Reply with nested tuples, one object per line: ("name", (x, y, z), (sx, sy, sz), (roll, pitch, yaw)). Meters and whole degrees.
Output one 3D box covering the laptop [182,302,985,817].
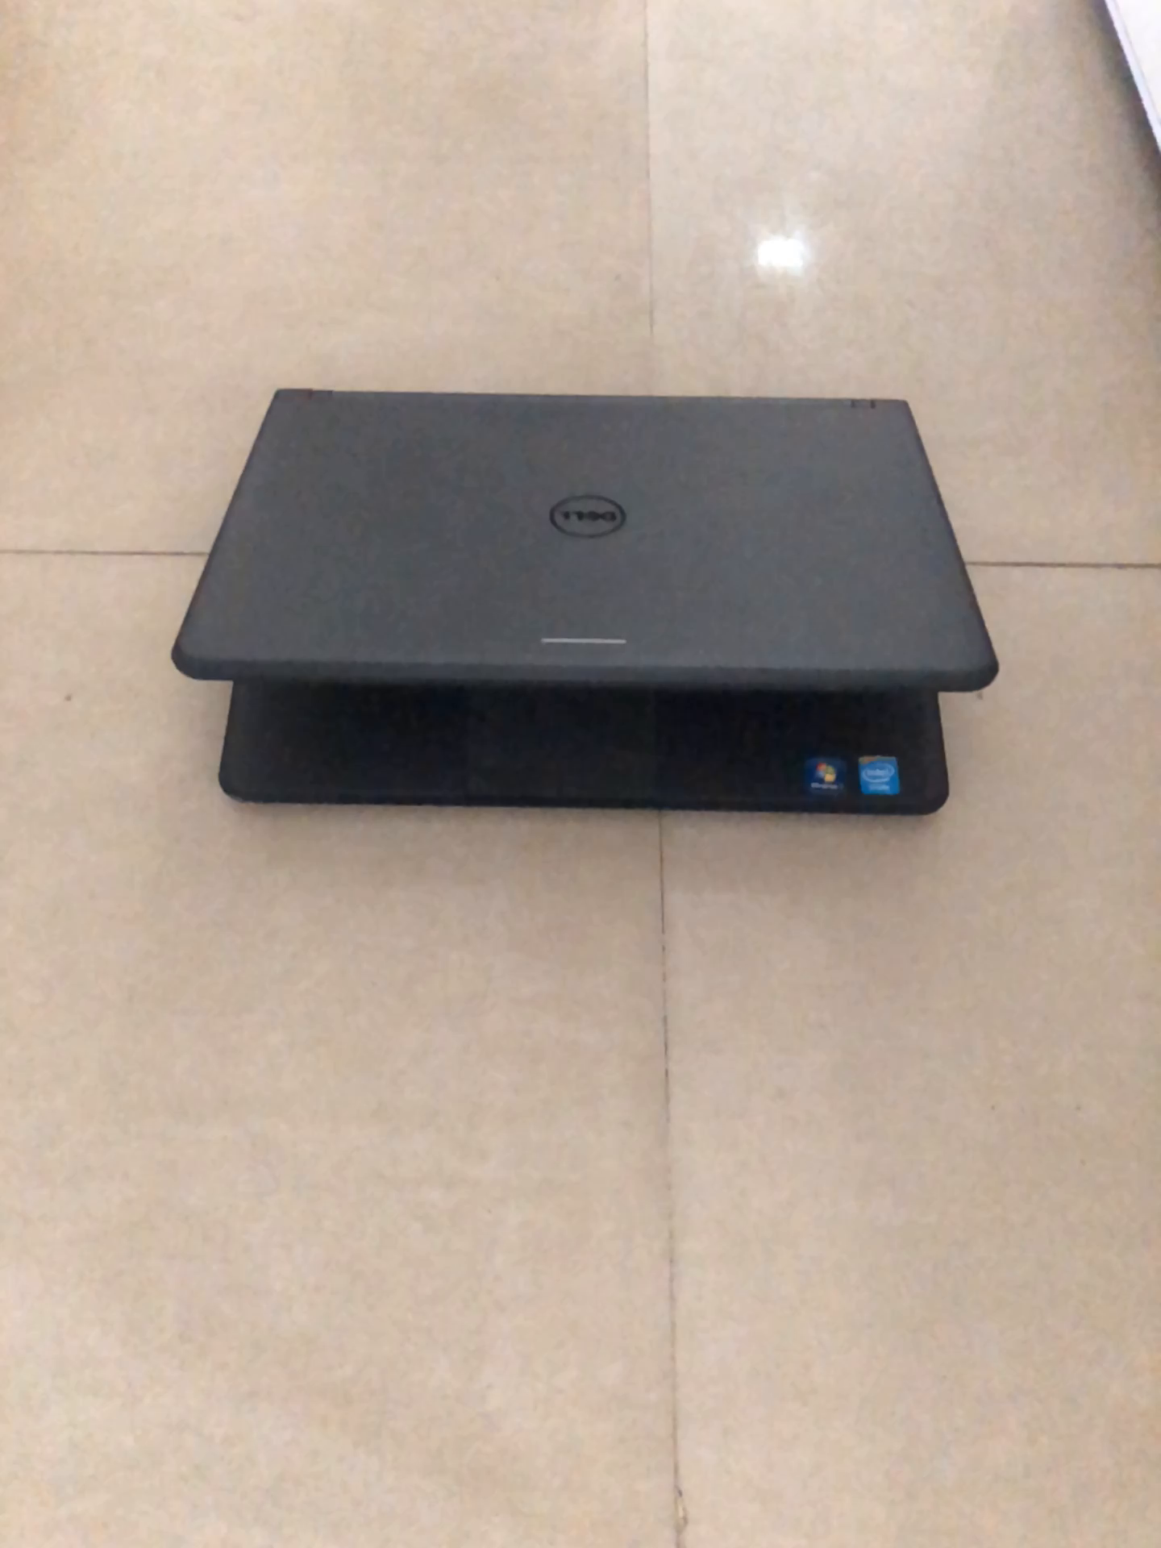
("laptop", (0.003, -0.100, 0.572), (0.314, 0.064, 0.221), (1, 66, 2))
